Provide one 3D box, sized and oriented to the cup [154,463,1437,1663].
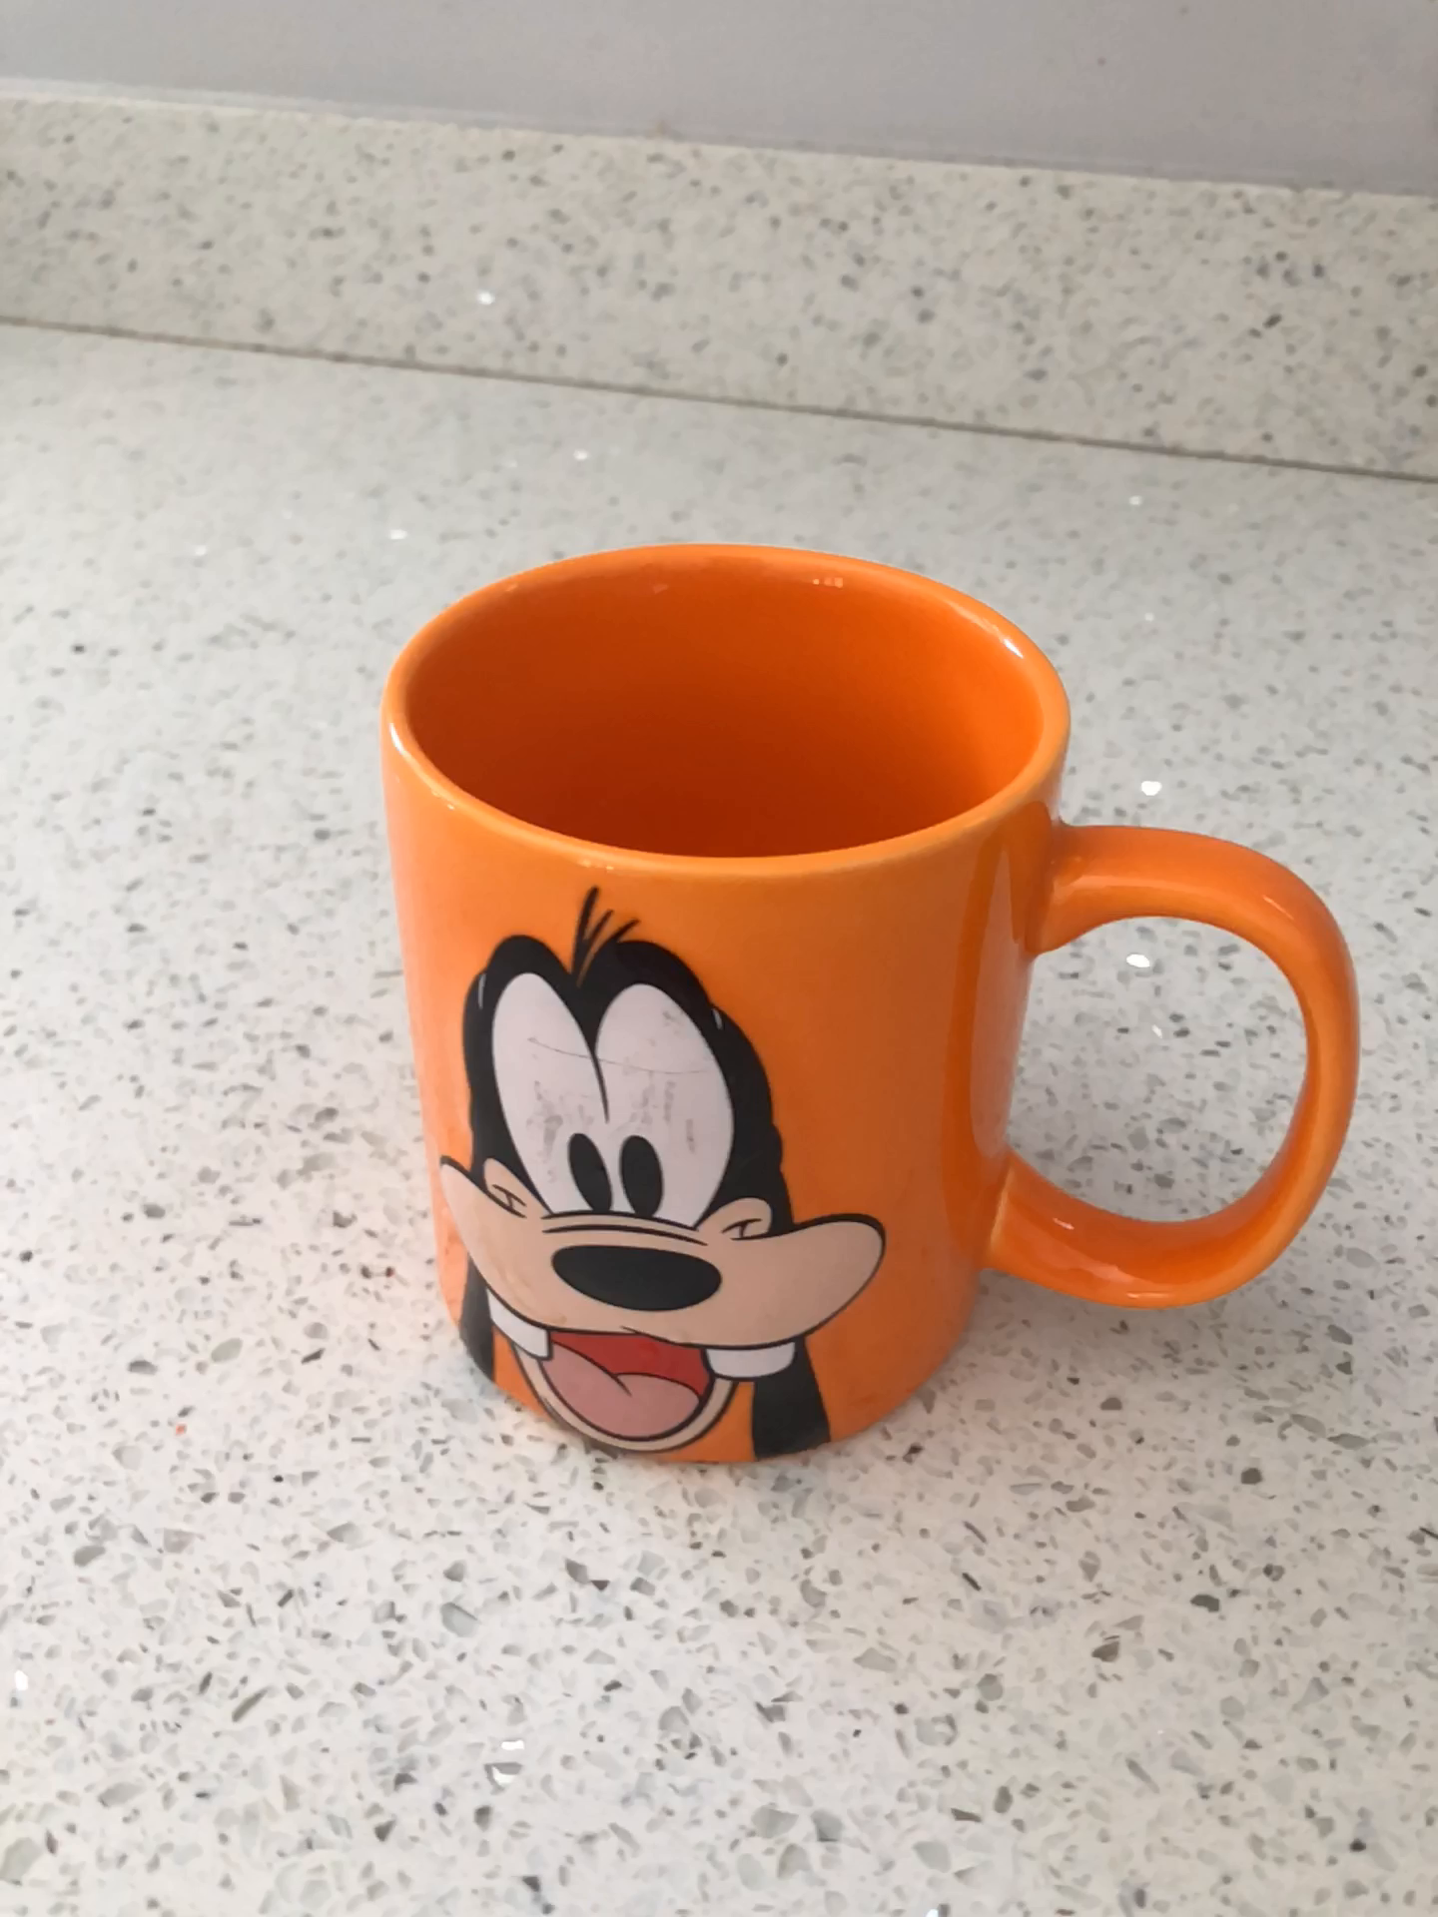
[{"bbox_3d":[0.016,0.006,0.216,0.130,0.101,0.090,12,38,15],"label":"cup"}]
